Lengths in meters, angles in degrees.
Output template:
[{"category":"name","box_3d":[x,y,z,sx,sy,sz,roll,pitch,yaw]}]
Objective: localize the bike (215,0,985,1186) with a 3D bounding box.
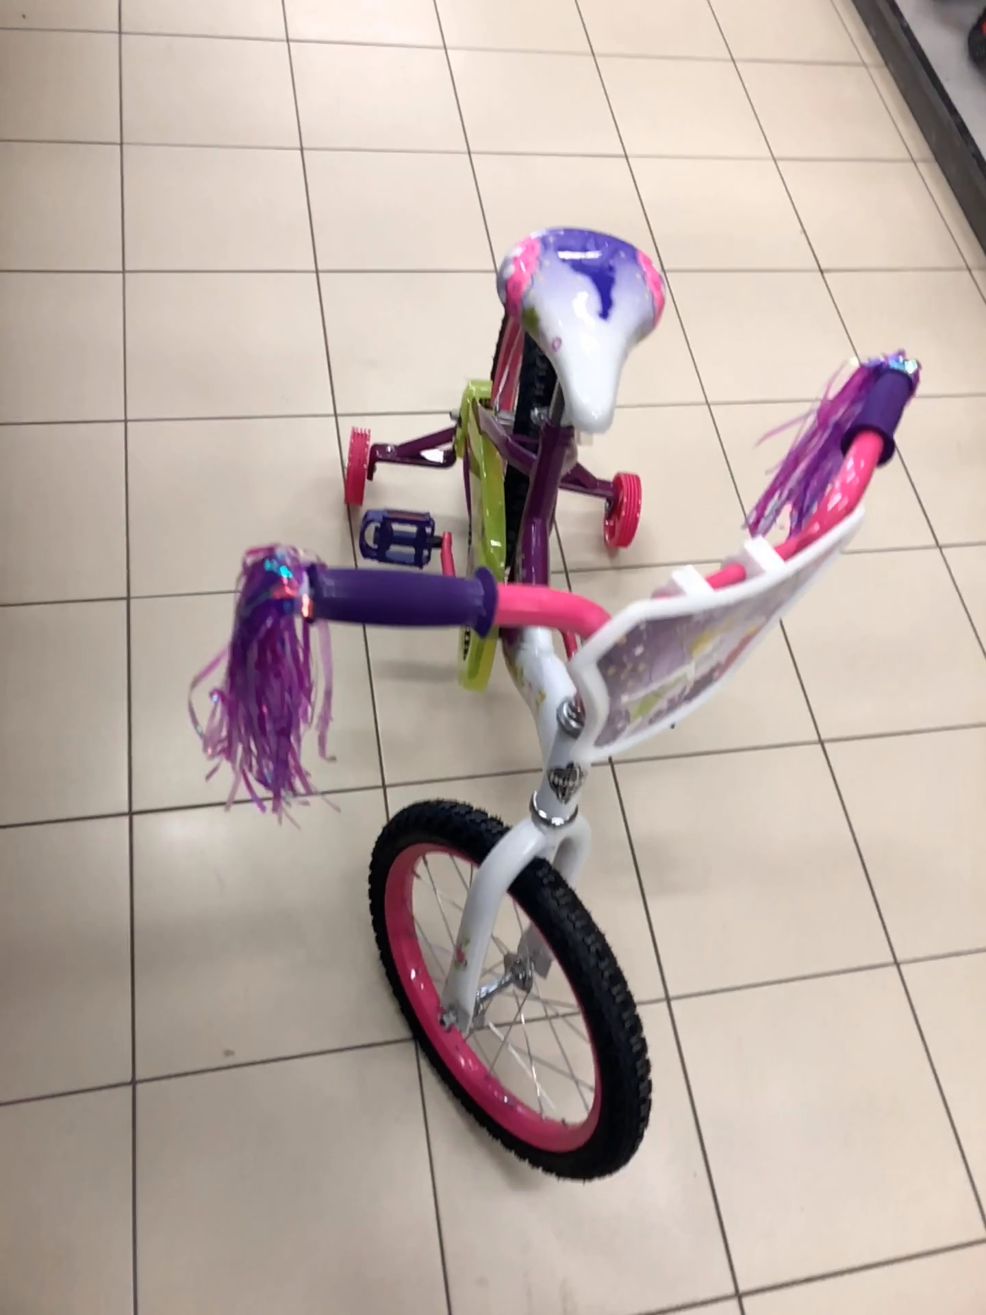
[{"category":"bike","box_3d":[0.090,-0.116,1.039,0.595,0.811,1.070,1,62,-10]}]
